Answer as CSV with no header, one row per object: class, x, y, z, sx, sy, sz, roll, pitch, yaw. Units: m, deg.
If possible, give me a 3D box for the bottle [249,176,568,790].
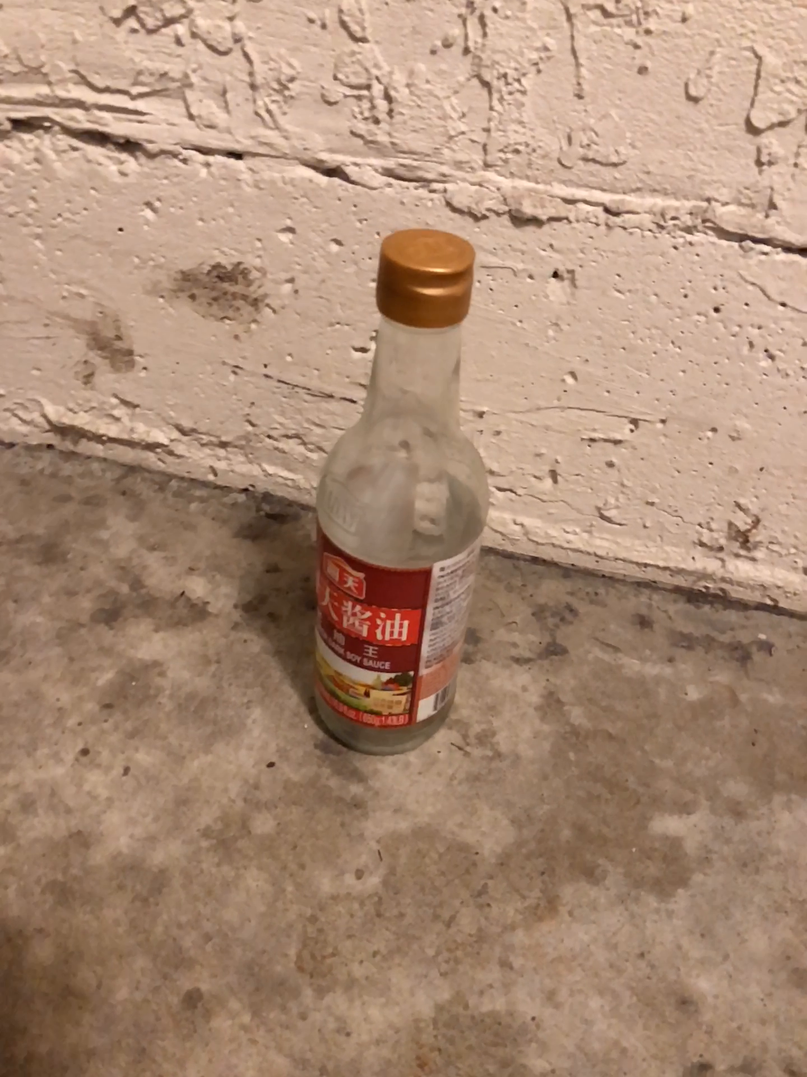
bottle,-0.003,-0.009,0.349,0.070,0.228,0.070,2,41,-2
